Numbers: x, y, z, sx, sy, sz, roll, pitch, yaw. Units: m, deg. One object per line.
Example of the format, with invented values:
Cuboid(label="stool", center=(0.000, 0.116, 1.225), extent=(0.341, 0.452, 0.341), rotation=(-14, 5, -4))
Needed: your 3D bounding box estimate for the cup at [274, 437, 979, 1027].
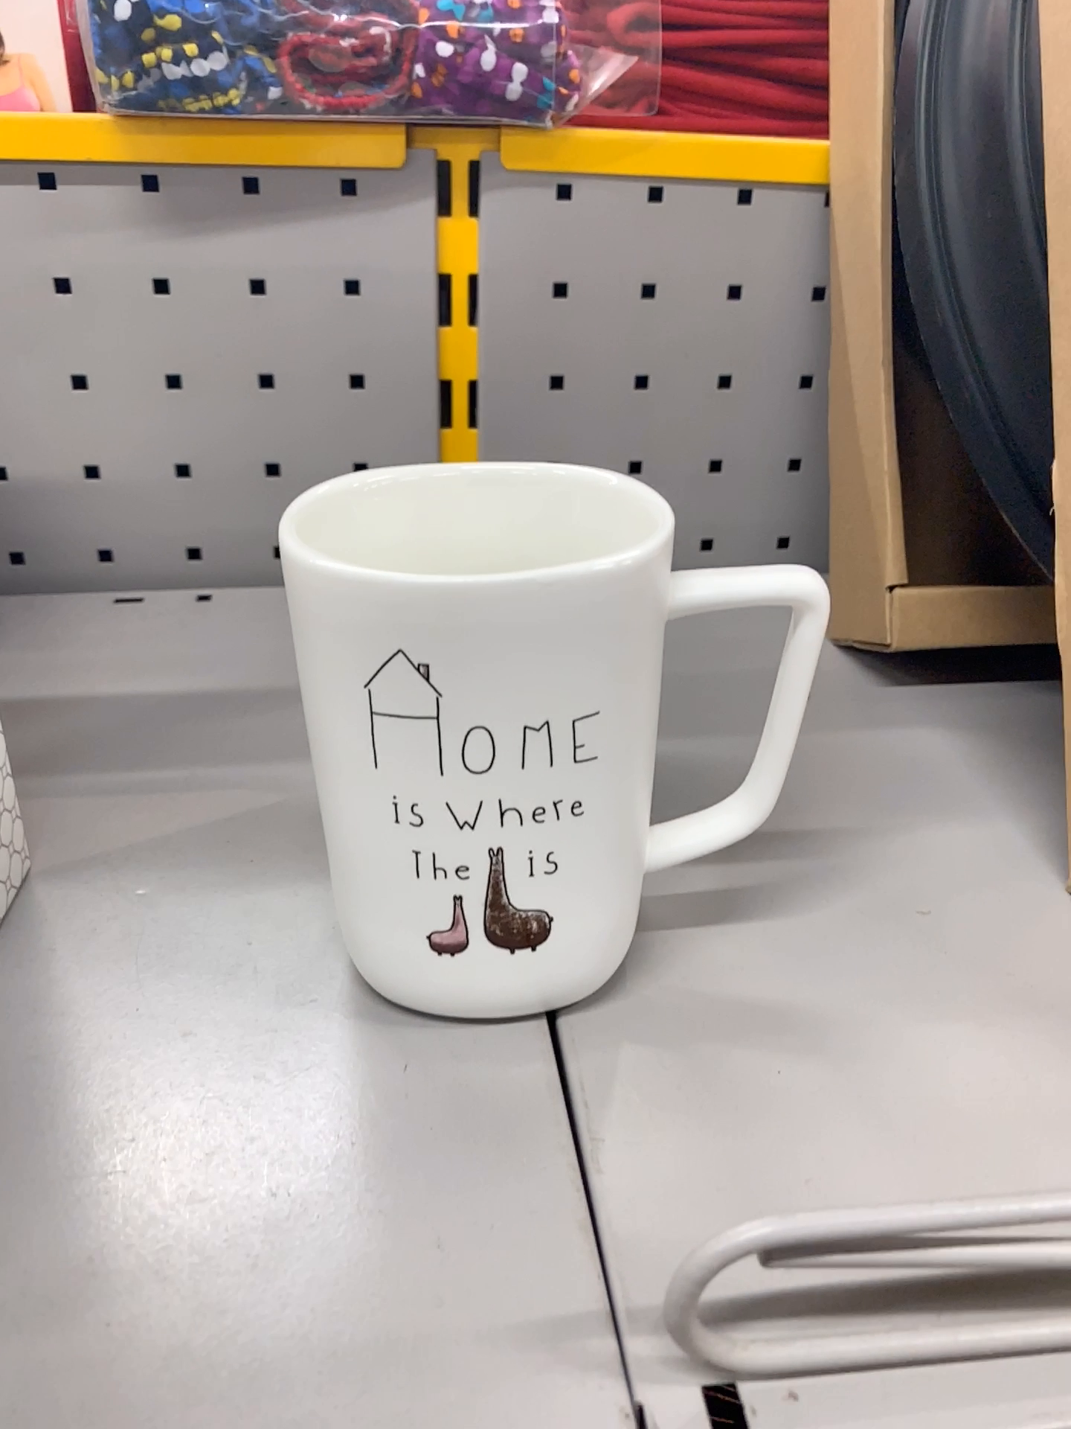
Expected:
Cuboid(label="cup", center=(0.011, 0.000, 0.239), extent=(0.120, 0.100, 0.070), rotation=(-2, 28, -8))
